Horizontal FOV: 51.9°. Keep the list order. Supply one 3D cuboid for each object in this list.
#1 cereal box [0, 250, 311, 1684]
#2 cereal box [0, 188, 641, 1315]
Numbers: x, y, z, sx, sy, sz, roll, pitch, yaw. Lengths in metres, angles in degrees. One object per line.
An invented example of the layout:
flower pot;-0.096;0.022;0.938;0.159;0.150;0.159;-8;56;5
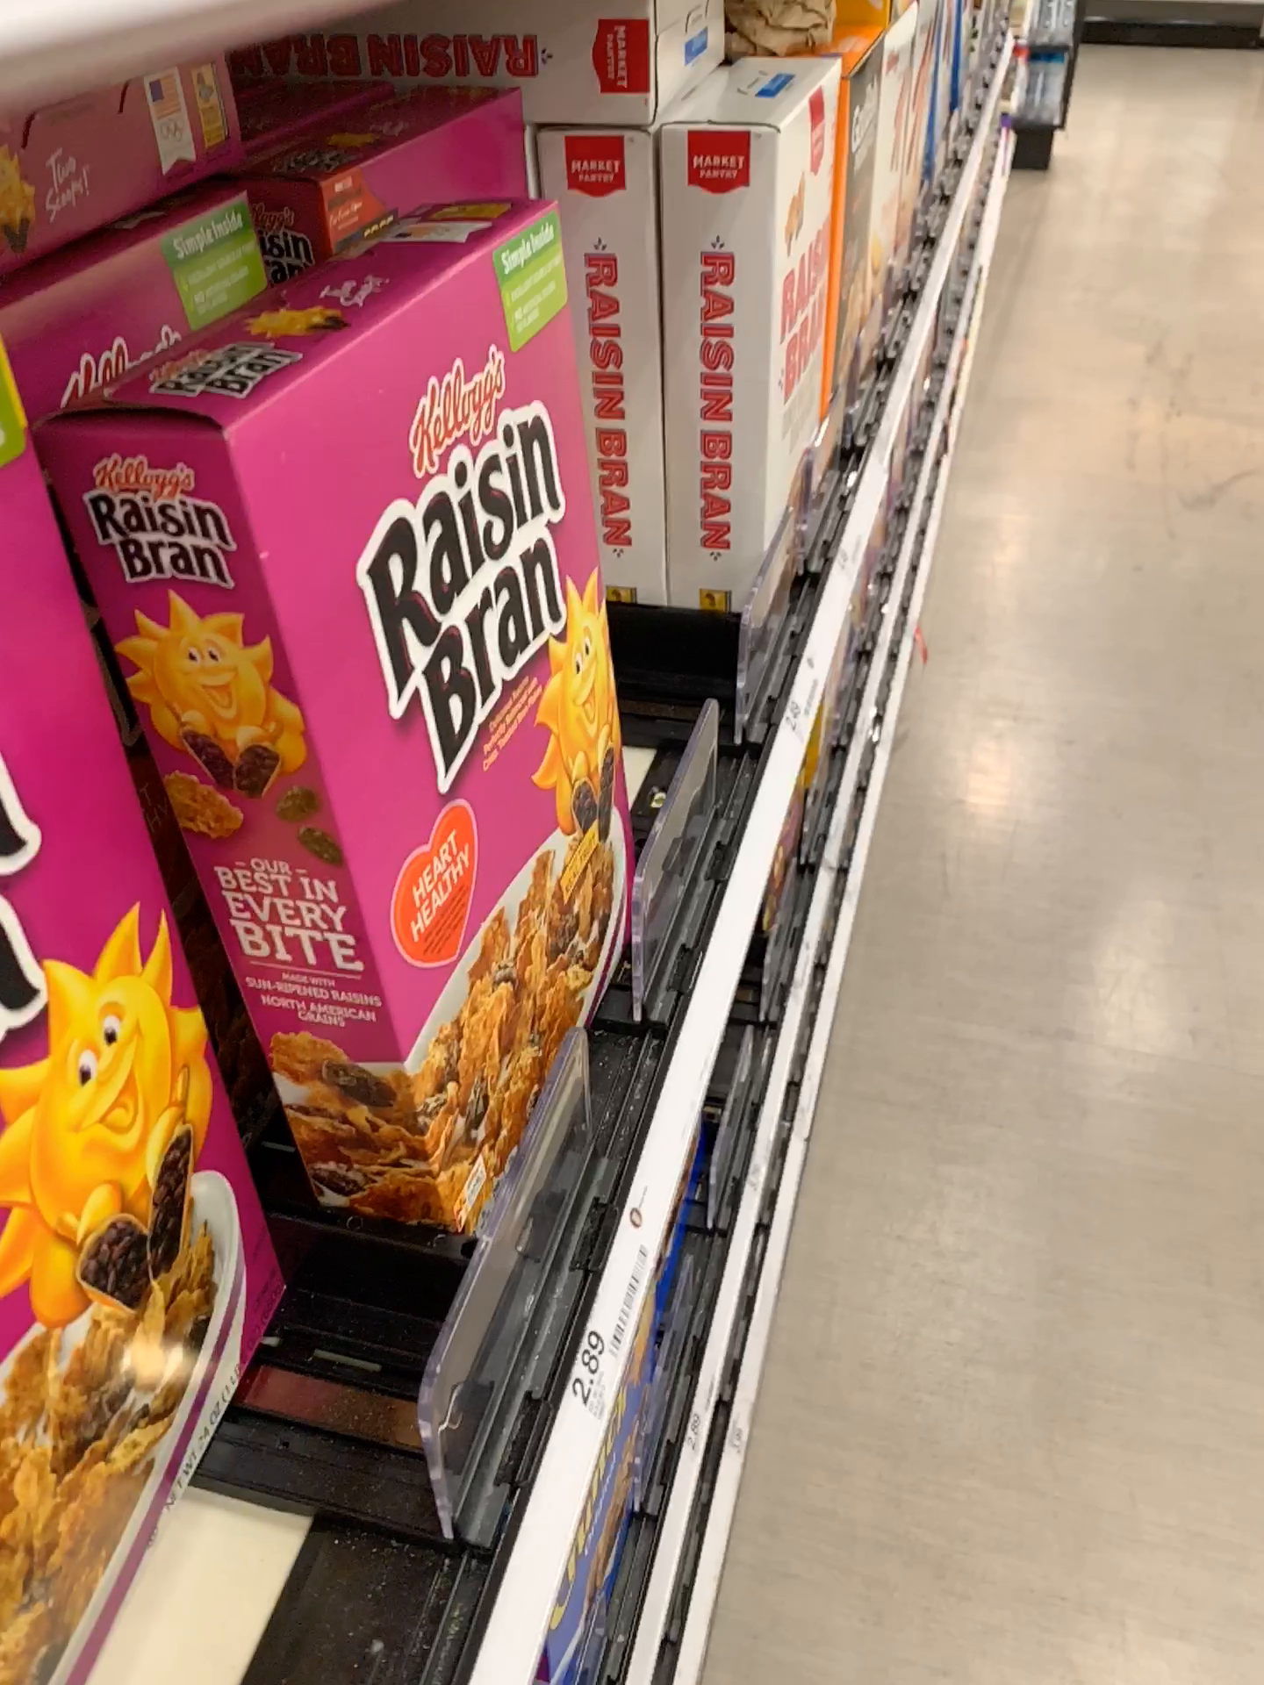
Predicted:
cereal box;-0.165;0.079;0.241;0.060;0.298;0.221;7;39;13
cereal box;-0.059;-0.026;0.402;0.050;0.279;0.201;5;39;15
